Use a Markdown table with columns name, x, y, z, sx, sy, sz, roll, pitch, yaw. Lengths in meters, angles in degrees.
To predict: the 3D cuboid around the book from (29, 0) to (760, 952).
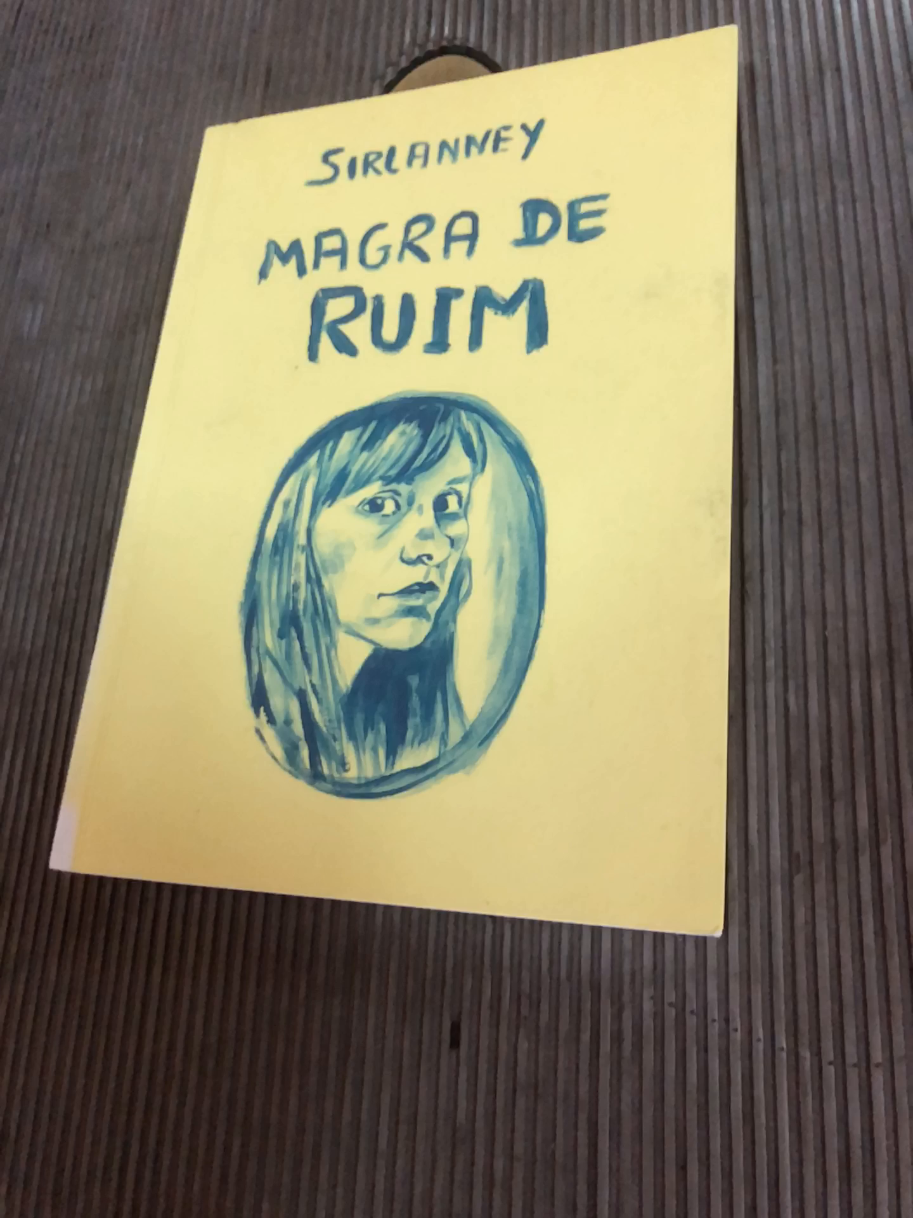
| name | x | y | z | sx | sy | sz | roll | pitch | yaw |
| --- | --- | --- | --- | --- | --- | --- | --- | --- | --- |
| book | -0.010 | -0.039 | 0.239 | 0.150 | 0.020 | 0.210 | 0 | 73 | 20 |
